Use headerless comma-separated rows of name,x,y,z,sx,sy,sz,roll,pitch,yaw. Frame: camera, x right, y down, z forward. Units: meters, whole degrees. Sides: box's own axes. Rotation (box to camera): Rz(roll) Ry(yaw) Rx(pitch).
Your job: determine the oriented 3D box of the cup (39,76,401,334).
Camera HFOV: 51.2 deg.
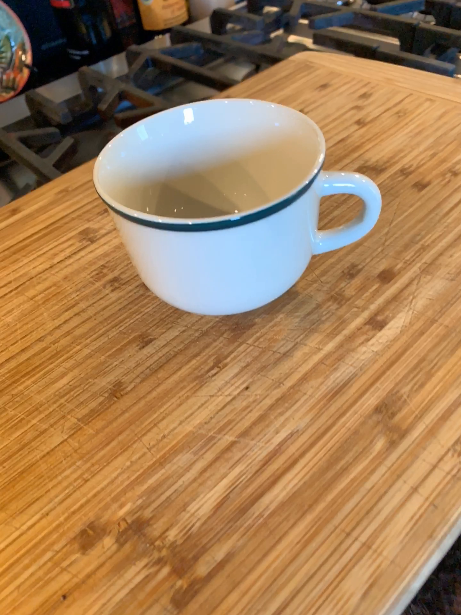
cup,-0.001,-0.045,0.210,0.120,0.060,0.090,-3,47,7
